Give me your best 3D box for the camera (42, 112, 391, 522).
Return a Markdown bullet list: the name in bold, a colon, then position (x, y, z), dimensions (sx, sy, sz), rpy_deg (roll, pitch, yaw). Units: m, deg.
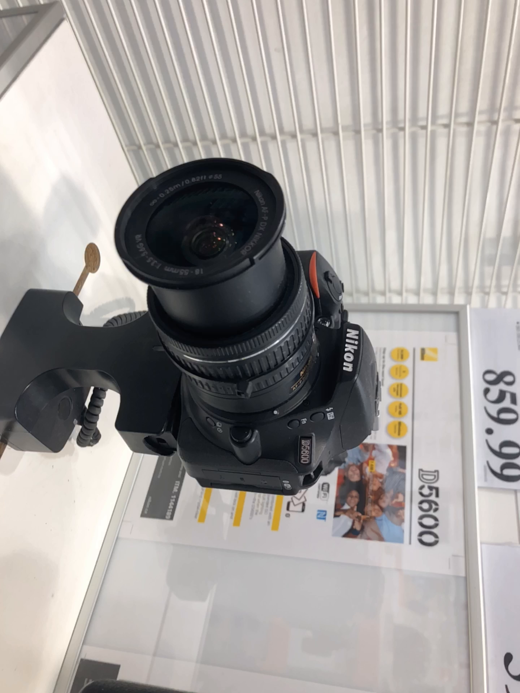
- **camera**: position (0.004, -0.002, 0.277), dimensions (0.160, 0.110, 0.120), rpy_deg (71, 24, -57)
